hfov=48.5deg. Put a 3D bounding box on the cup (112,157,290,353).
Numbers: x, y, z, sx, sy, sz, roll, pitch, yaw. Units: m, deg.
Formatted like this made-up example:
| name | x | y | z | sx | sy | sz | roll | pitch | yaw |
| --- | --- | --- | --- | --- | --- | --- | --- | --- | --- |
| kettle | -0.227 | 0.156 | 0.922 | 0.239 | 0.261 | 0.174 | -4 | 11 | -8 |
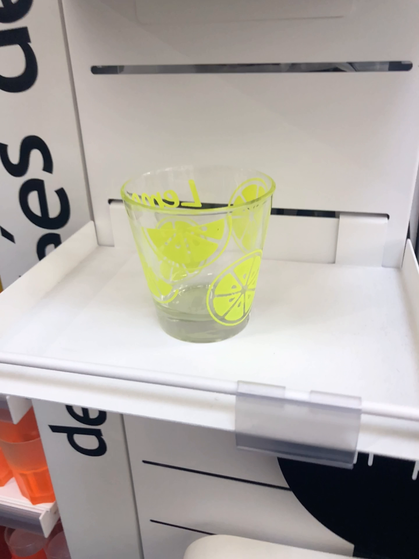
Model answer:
| name | x | y | z | sx | sy | sz | roll | pitch | yaw |
| --- | --- | --- | --- | --- | --- | --- | --- | --- | --- |
| cup | -0.009 | -0.019 | 0.260 | 0.080 | 0.075 | 0.084 | -1 | 27 | 1 |
